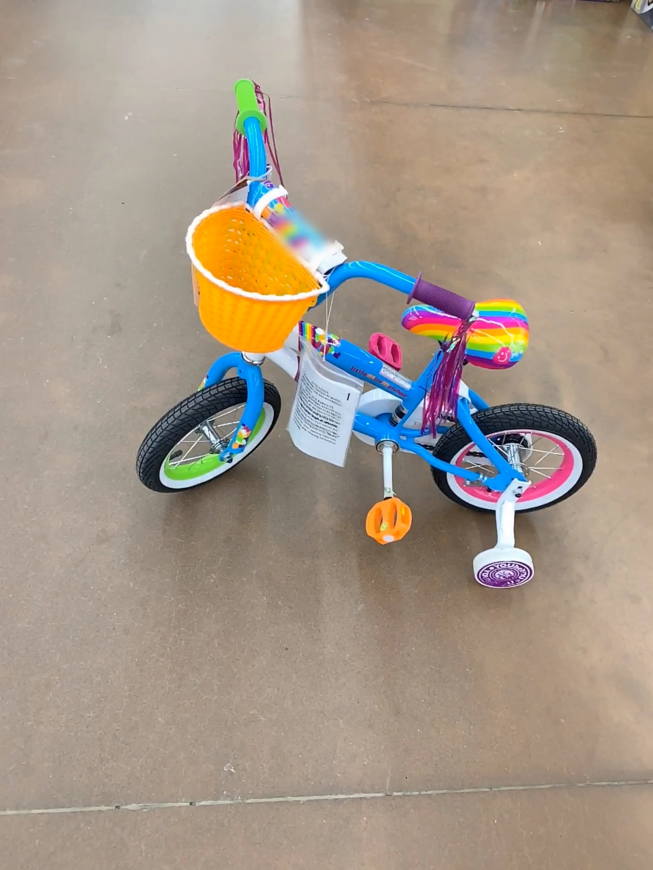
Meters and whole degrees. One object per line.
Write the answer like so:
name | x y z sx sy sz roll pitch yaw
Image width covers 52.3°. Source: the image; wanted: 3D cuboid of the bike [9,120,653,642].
bike | 0.098 -0.065 1.096 0.833 0.666 0.523 2 48 -3
